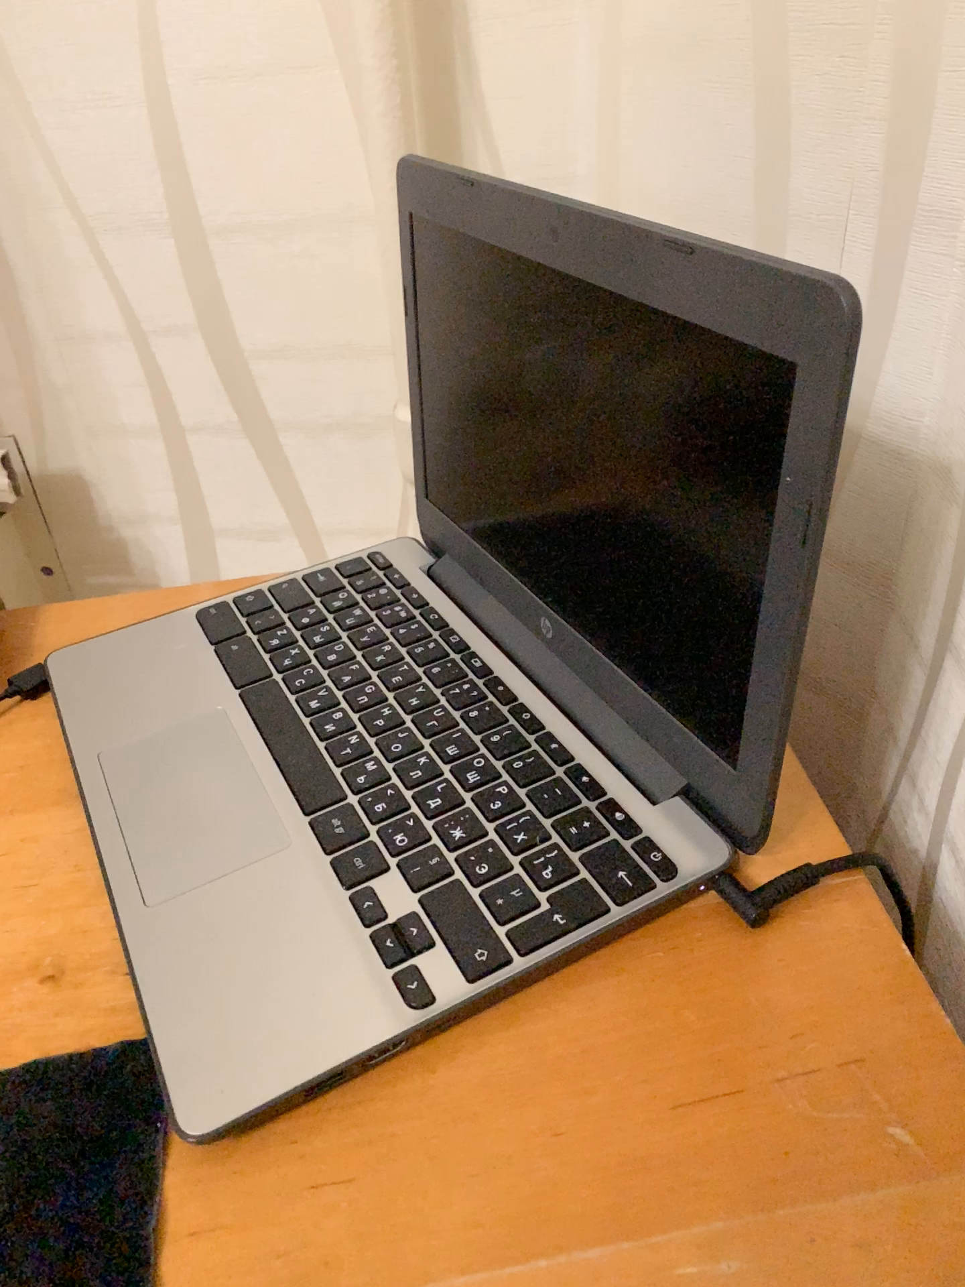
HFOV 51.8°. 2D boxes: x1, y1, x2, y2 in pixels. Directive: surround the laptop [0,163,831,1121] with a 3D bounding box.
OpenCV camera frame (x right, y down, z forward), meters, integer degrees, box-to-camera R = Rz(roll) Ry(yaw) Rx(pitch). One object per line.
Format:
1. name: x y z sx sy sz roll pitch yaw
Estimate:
1. laptop: -0.062 -0.040 0.364 0.206 0.187 0.273 -20 38 -20
